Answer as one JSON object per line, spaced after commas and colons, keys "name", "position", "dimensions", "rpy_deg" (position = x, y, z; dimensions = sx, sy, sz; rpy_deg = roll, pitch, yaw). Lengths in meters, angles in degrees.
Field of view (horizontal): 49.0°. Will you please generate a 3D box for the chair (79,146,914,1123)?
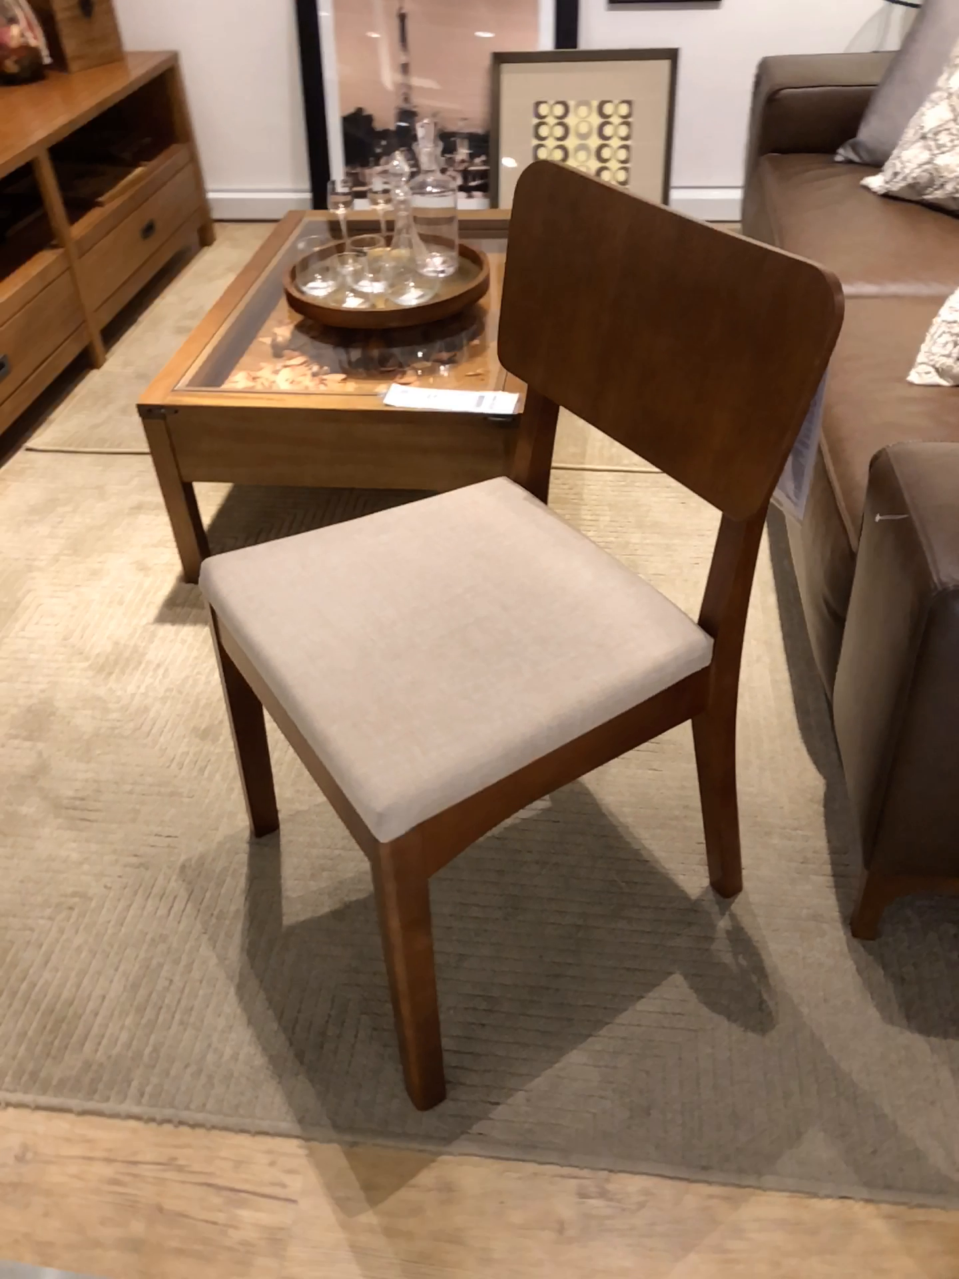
{"name": "chair", "position": [0.003, -0.016, 1.158], "dimensions": [0.531, 0.793, 0.513], "rpy_deg": [-23, 43, -22]}
